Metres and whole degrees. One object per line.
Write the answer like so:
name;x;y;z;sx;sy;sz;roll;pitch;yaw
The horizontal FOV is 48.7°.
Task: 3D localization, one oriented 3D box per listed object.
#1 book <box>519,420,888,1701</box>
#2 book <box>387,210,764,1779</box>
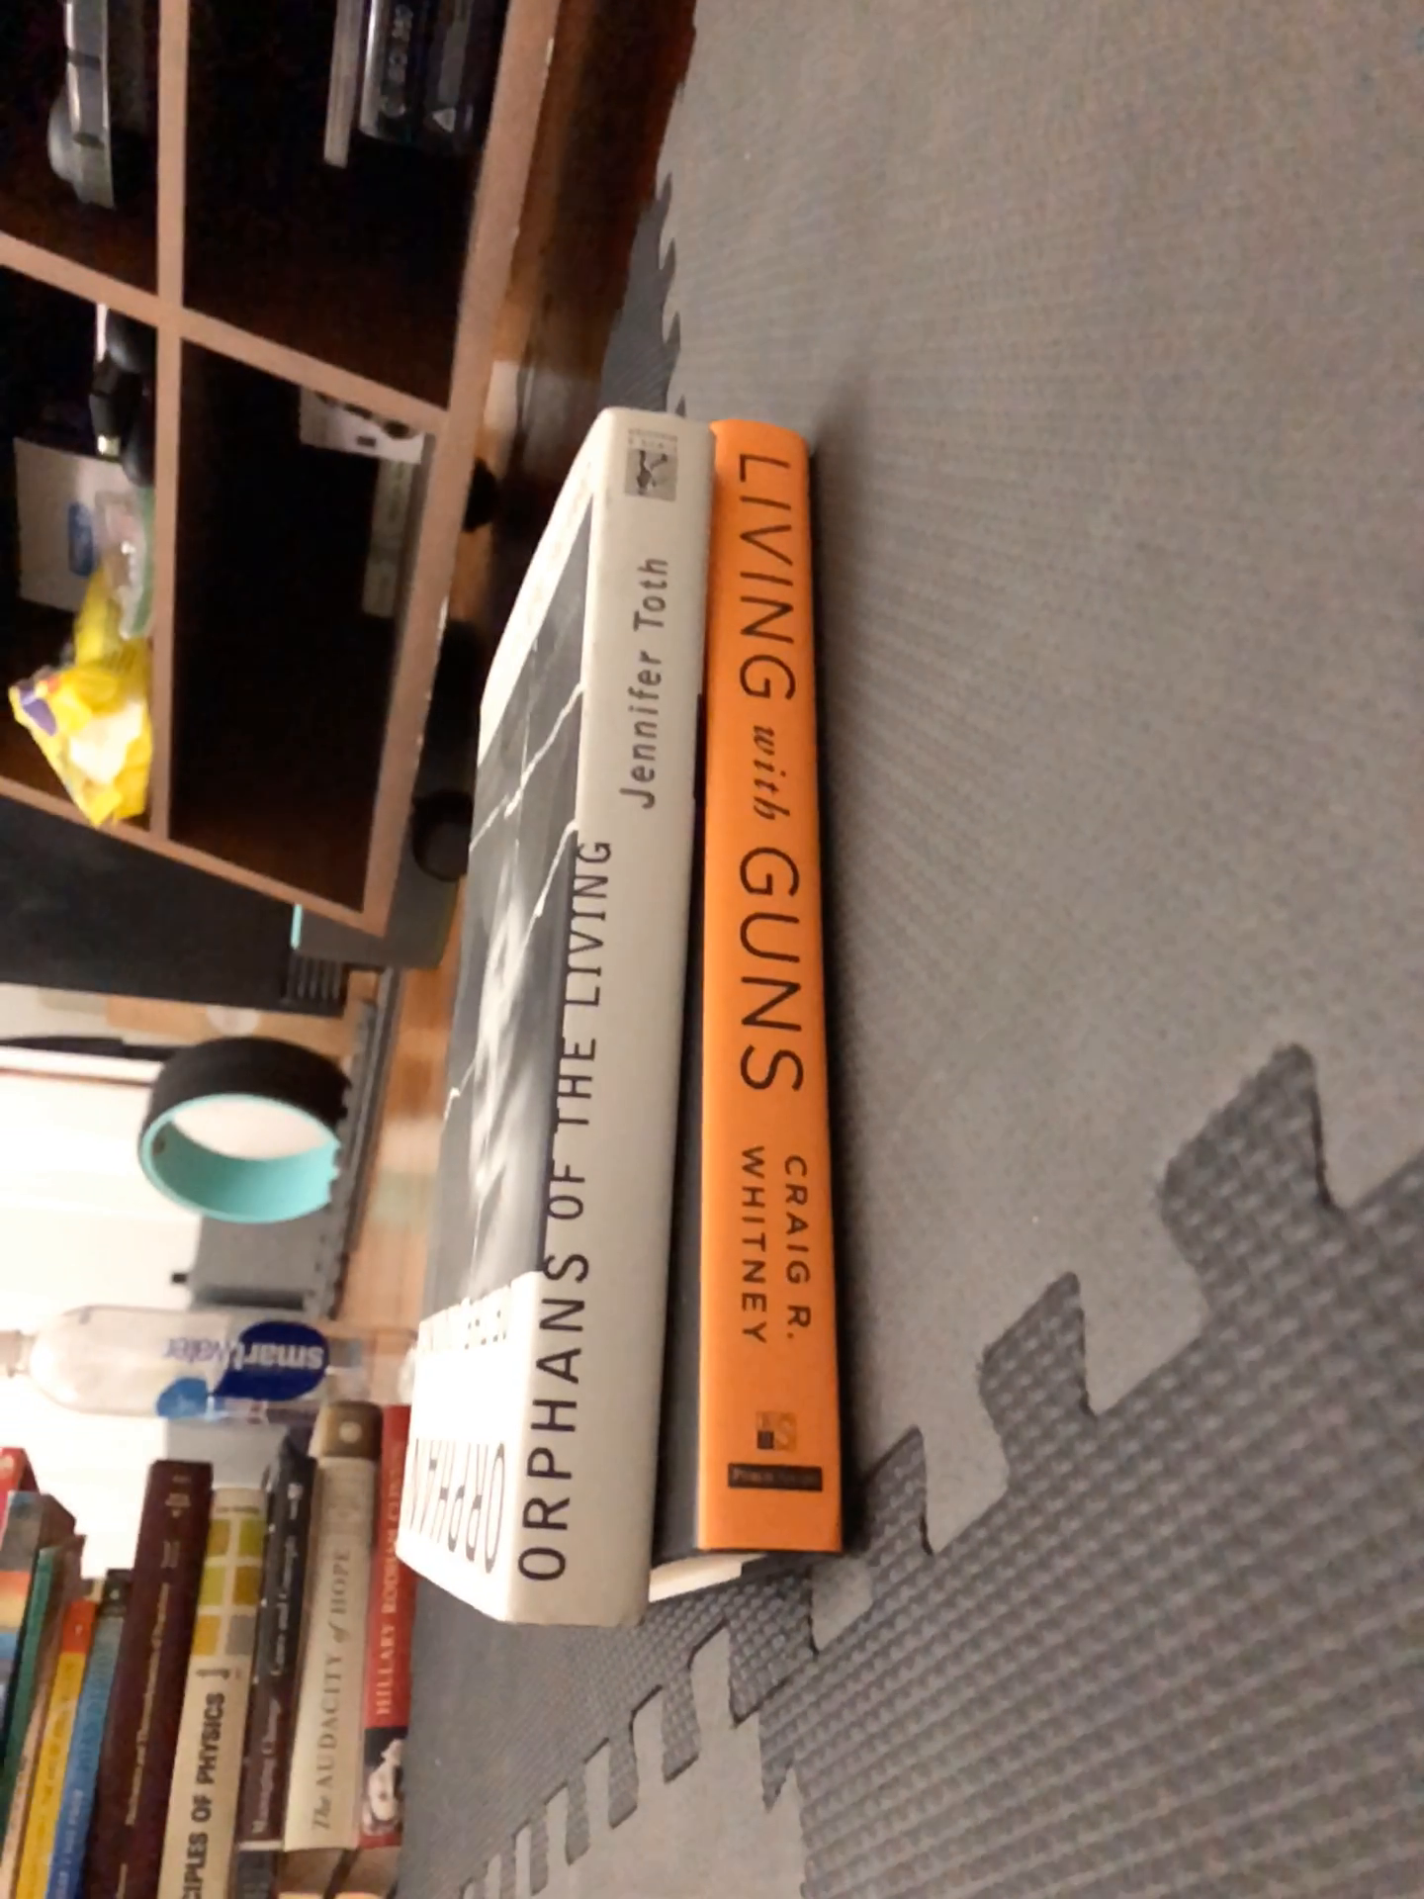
book;-0.008;0.031;0.362;0.160;0.030;0.250;121;153;-59
book;-0.036;0.013;0.357;0.180;0.030;0.280;134;142;-68
